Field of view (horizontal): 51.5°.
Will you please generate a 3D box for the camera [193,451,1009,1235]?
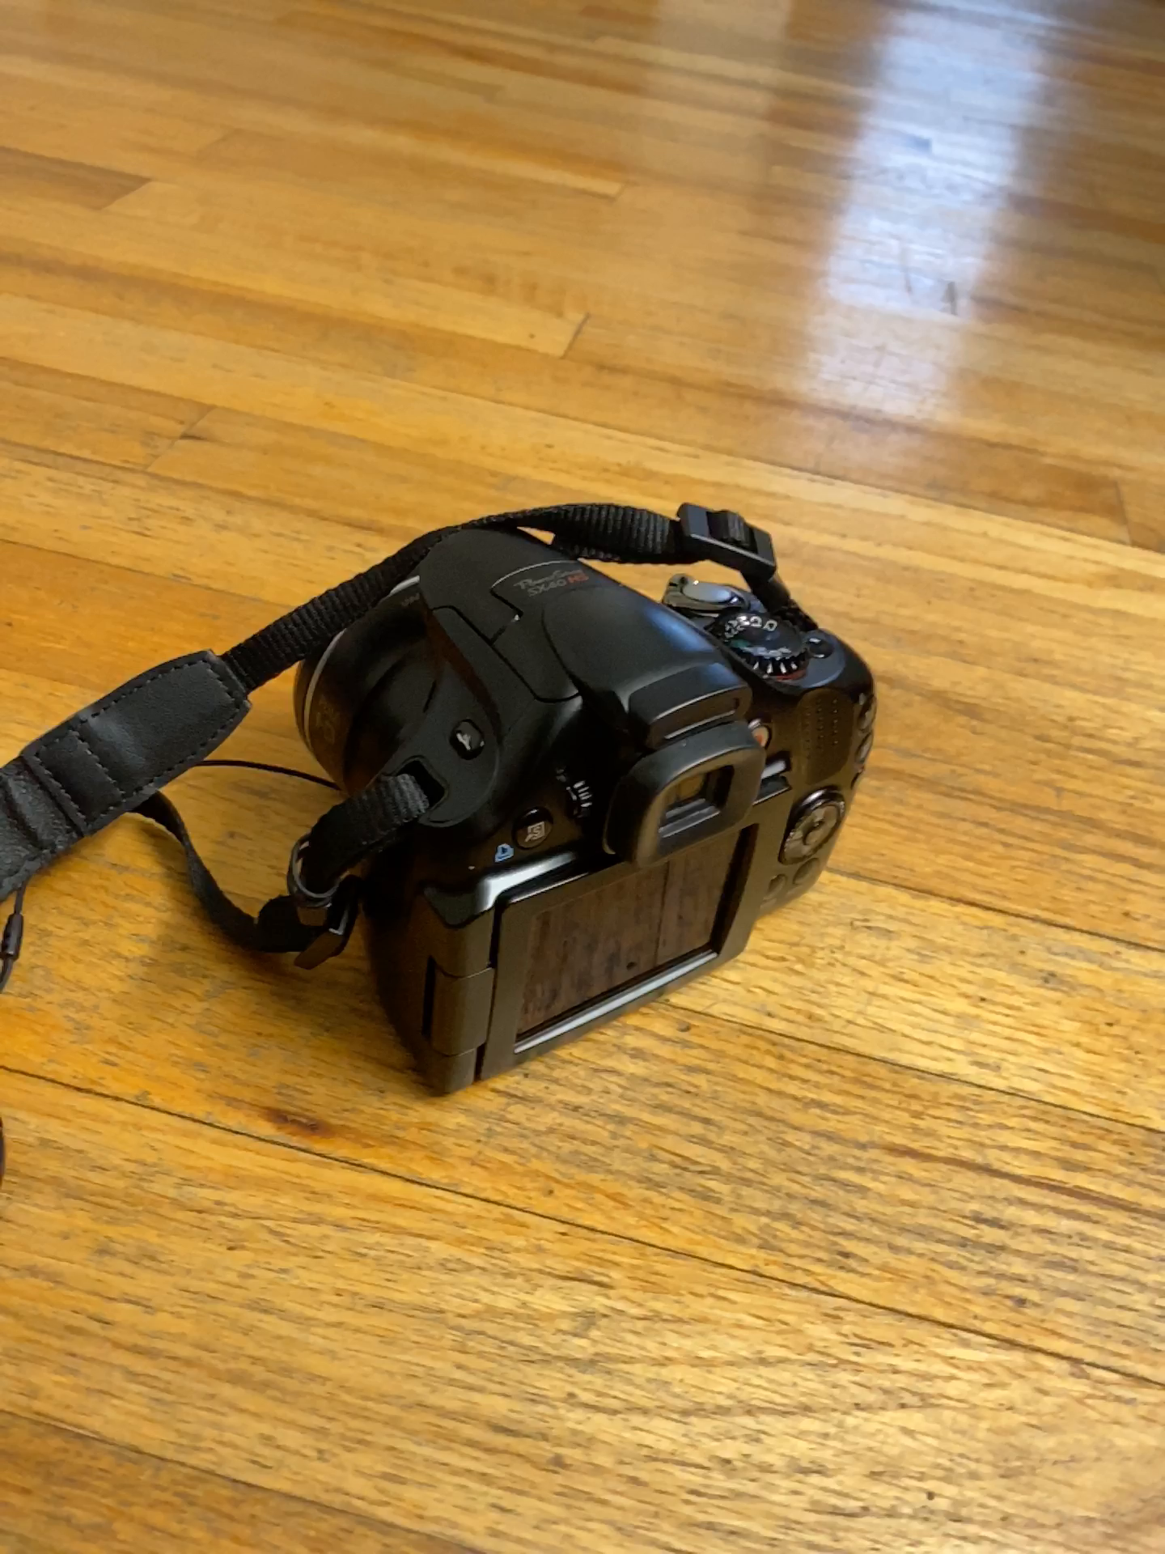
[{"bbox_3d":[-0.004,0.003,0.273,0.120,0.089,0.120,-18,48,-30],"label":"camera"}]
